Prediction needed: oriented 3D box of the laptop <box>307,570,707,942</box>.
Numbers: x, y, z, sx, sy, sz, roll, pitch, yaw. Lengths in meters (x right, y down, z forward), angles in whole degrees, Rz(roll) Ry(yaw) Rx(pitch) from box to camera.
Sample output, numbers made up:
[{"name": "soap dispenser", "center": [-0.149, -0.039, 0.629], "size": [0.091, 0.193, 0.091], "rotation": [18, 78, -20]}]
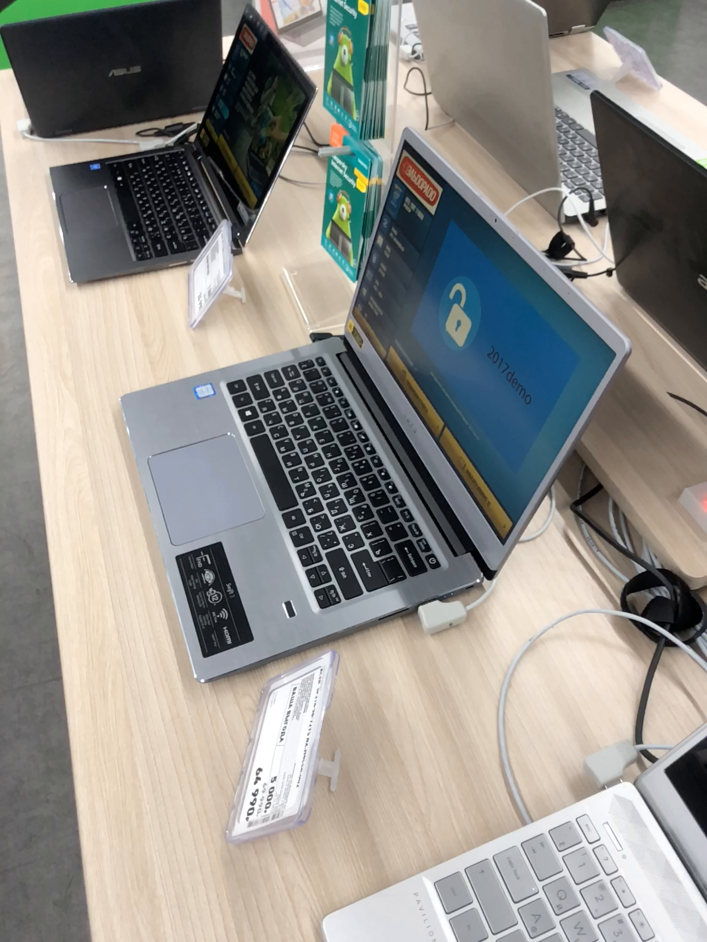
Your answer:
[{"name": "laptop", "center": [0.186, 0.259, 0.316], "size": [0.322, 0.164, 0.306], "rotation": [-18, 49, -10]}]

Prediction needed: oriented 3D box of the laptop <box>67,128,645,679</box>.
[{"name": "laptop", "center": [-0.022, -0.073, 0.608], "size": [0.302, 0.197, 0.316], "rotation": [-18, 50, -12]}]

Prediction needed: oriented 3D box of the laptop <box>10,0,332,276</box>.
[{"name": "laptop", "center": [-0.224, -0.418, 0.948], "size": [0.311, 0.159, 0.280], "rotation": [-17, 49, -9]}]
